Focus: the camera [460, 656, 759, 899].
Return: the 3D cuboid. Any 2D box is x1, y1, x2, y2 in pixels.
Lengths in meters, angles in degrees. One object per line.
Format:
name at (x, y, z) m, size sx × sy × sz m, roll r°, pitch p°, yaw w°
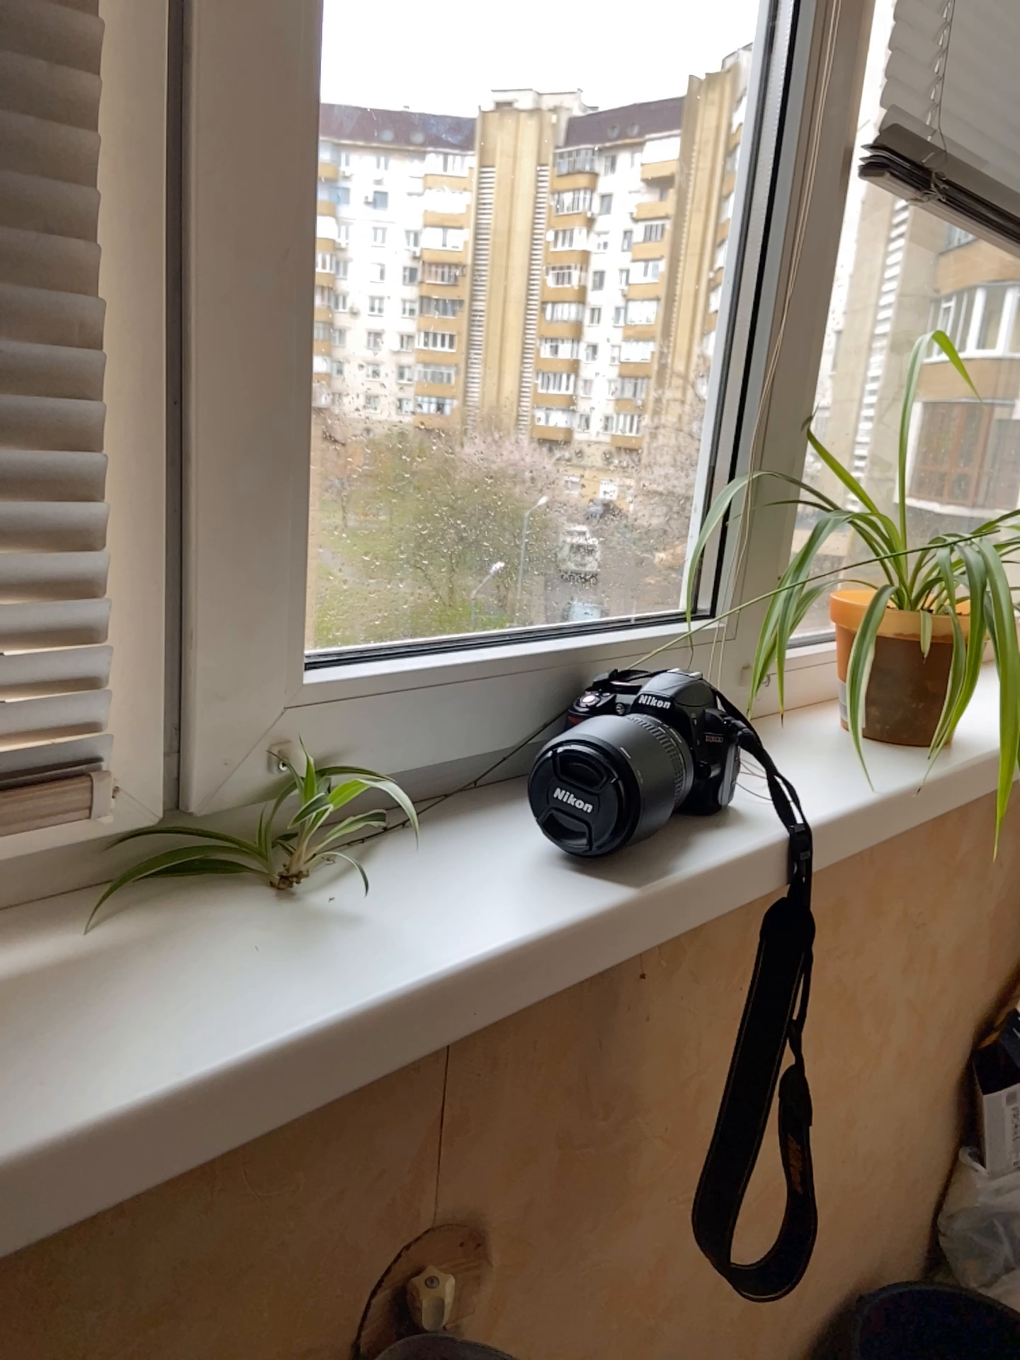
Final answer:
camera at (0.073, 0.054, 0.702) m, size 0.125 × 0.089 × 0.191 m, roll 13°, pitch 16°, yaw 27°
